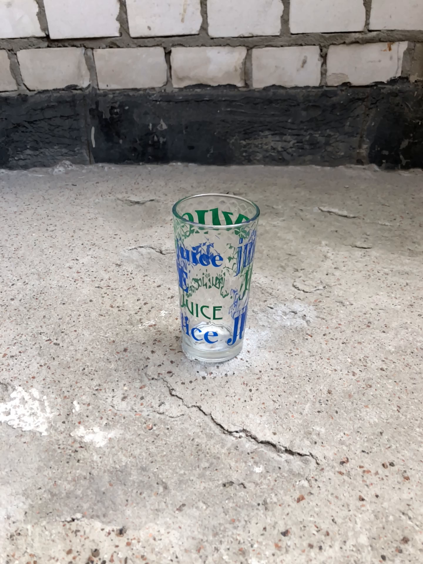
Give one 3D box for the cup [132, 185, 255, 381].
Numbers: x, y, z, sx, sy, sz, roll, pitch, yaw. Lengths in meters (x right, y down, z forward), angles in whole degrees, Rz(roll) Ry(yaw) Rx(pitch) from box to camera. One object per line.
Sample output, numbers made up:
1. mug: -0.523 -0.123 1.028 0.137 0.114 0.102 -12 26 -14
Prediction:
1. cup: -0.011 -0.001 0.361 0.067 0.125 0.066 0 30 0
